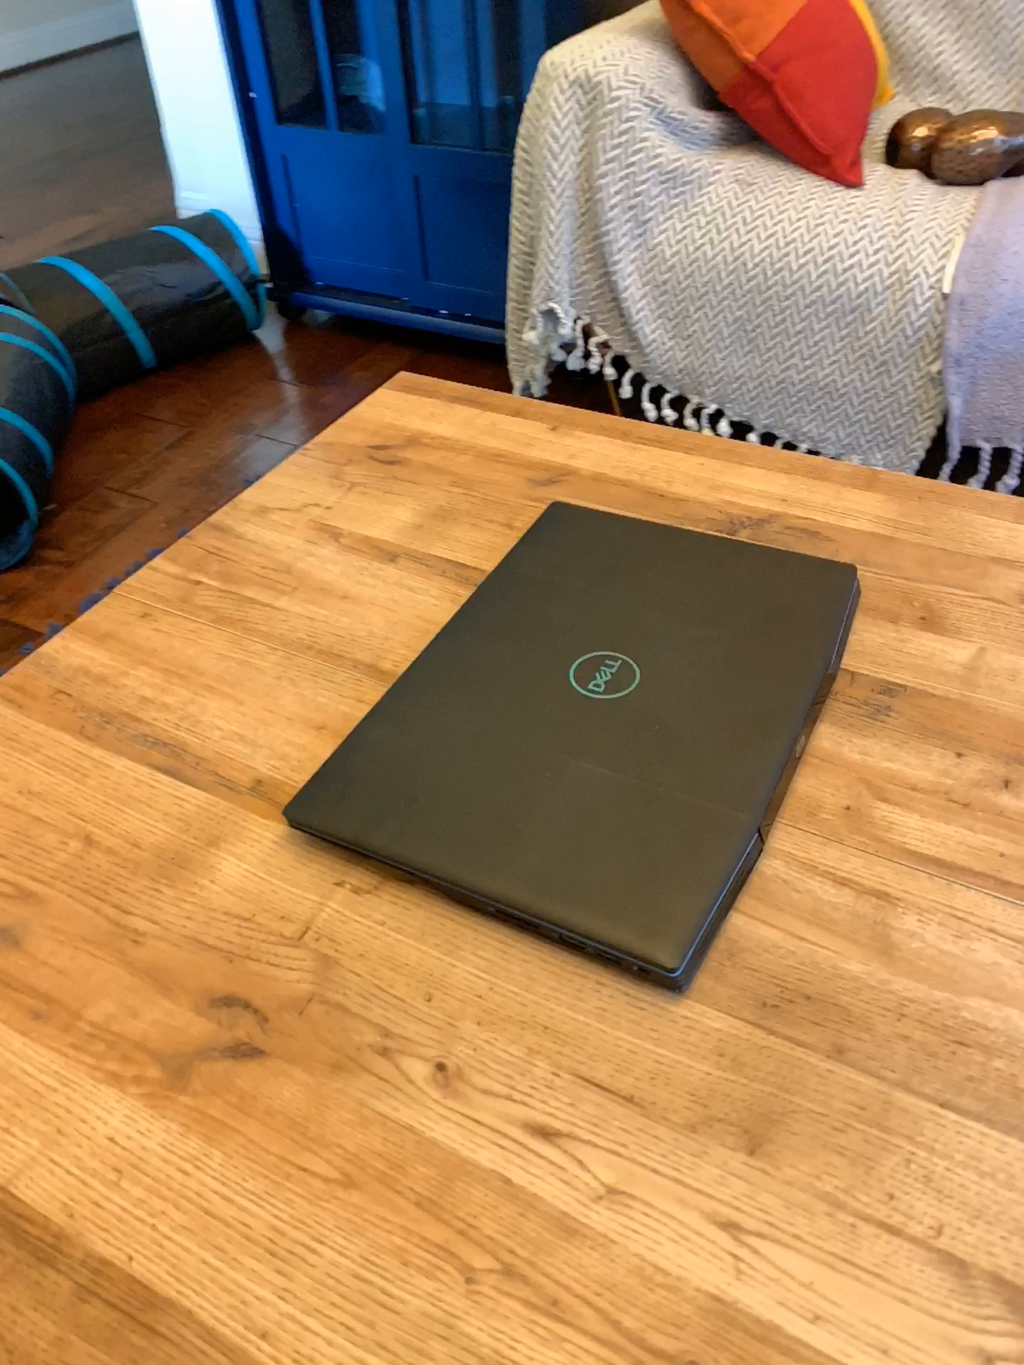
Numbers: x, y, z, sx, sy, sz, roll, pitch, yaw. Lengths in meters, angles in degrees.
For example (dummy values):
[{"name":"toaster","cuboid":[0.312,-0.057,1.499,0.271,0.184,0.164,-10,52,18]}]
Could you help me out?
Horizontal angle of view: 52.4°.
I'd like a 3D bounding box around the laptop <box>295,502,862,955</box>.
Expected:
[{"name":"laptop","cuboid":[0.061,-0.004,0.655,0.227,0.001,0.347,17,46,22]}]
